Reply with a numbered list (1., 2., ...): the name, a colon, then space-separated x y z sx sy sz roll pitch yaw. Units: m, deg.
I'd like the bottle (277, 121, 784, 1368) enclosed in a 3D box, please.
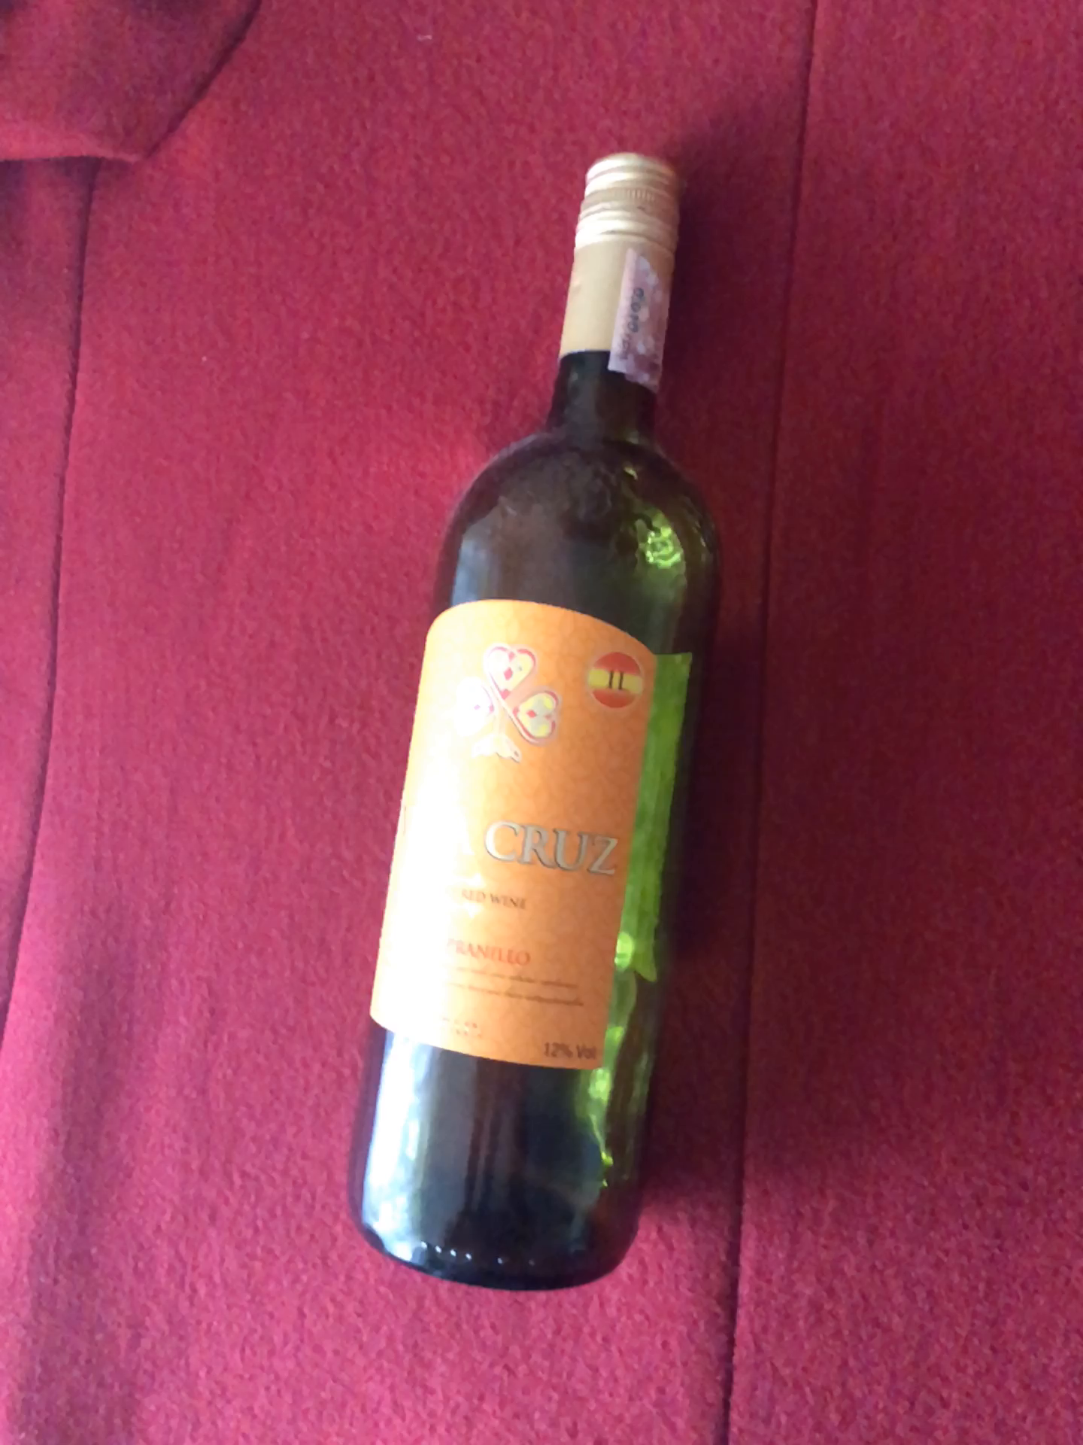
1. bottle: 0.003 0.000 0.333 0.080 0.070 0.300 6 85 21
